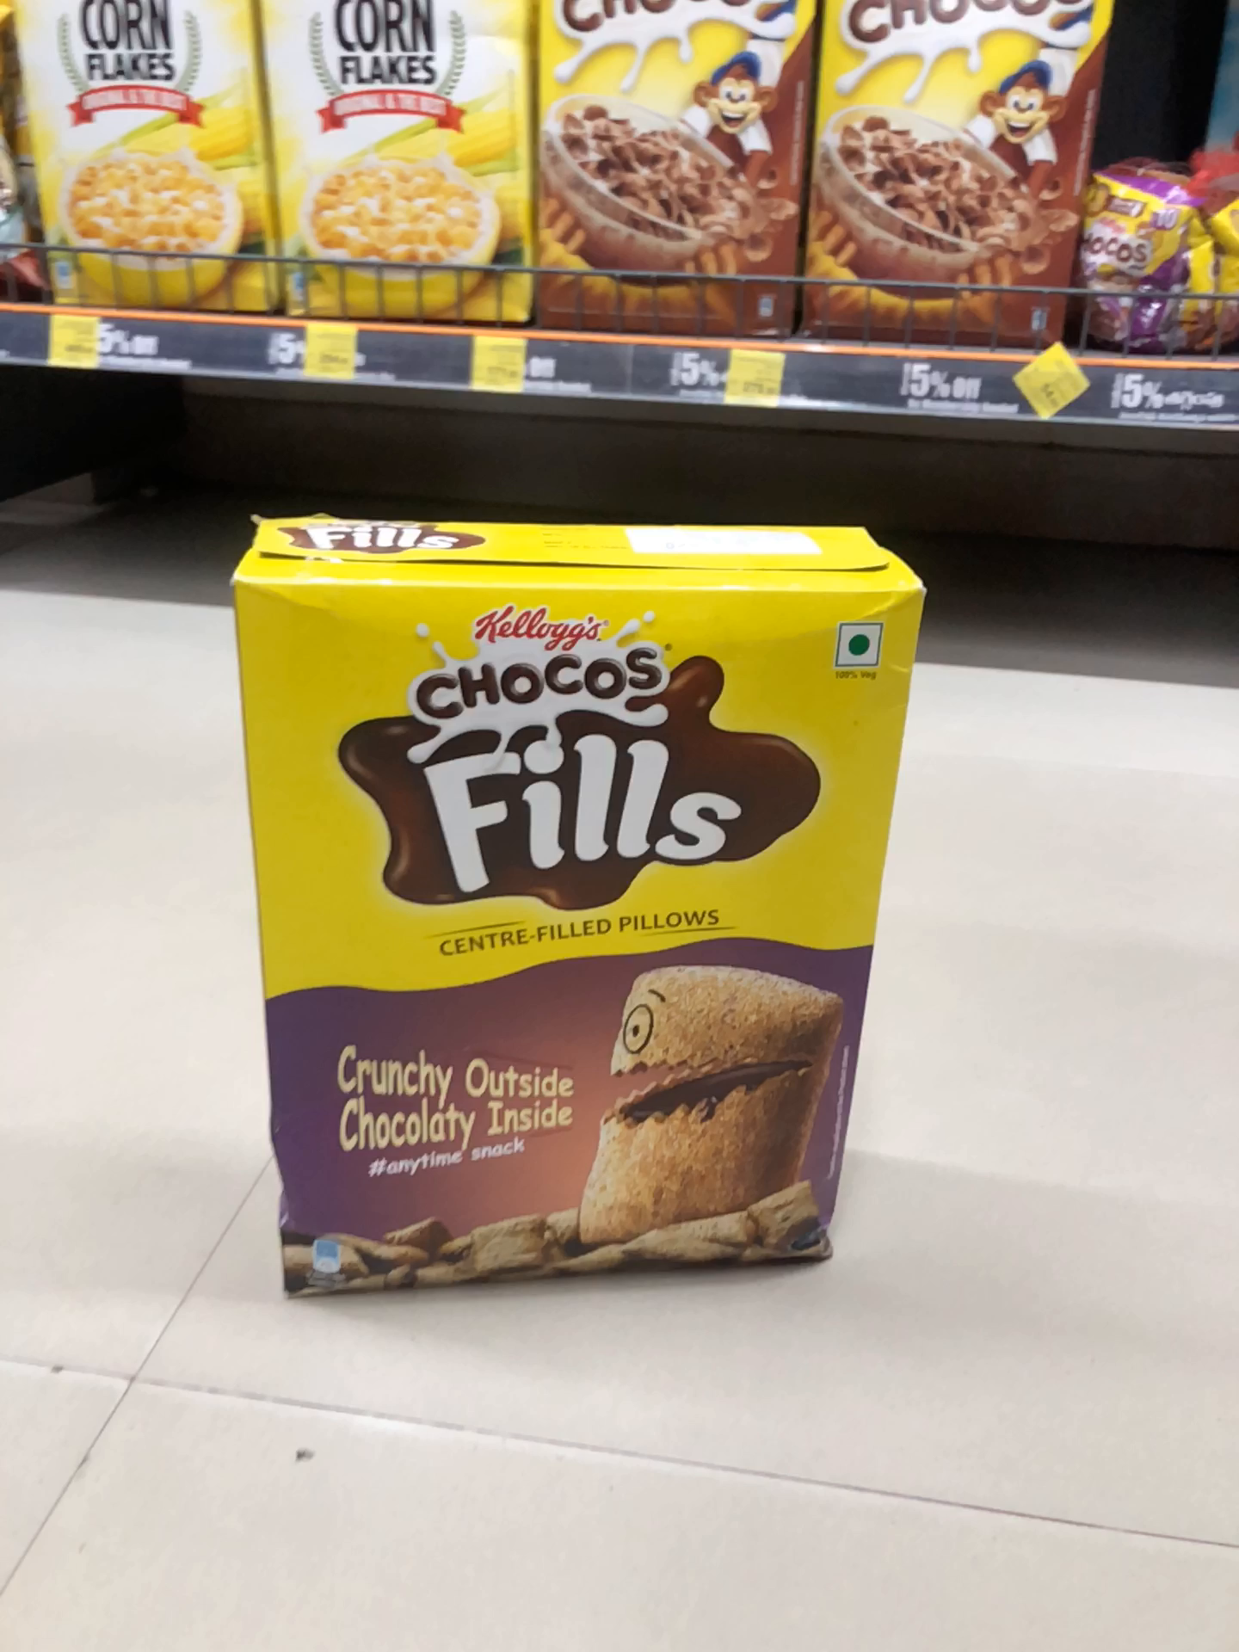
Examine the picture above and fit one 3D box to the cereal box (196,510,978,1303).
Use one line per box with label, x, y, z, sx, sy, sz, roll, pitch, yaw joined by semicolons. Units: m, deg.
cereal box;-0.013;0.025;0.413;0.190;0.219;0.080;0;24;-6
